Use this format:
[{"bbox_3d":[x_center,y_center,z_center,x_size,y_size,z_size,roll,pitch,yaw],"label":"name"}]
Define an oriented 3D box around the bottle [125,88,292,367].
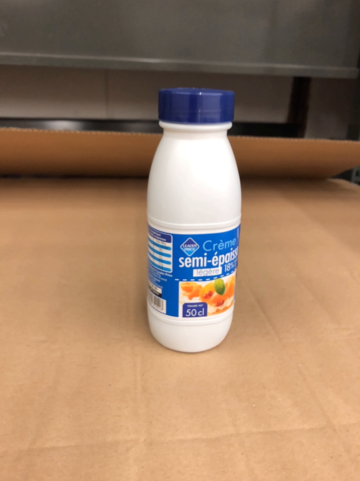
[{"bbox_3d":[0.010,-0.013,0.281,0.080,0.169,0.080,2,22,-1],"label":"bottle"}]
